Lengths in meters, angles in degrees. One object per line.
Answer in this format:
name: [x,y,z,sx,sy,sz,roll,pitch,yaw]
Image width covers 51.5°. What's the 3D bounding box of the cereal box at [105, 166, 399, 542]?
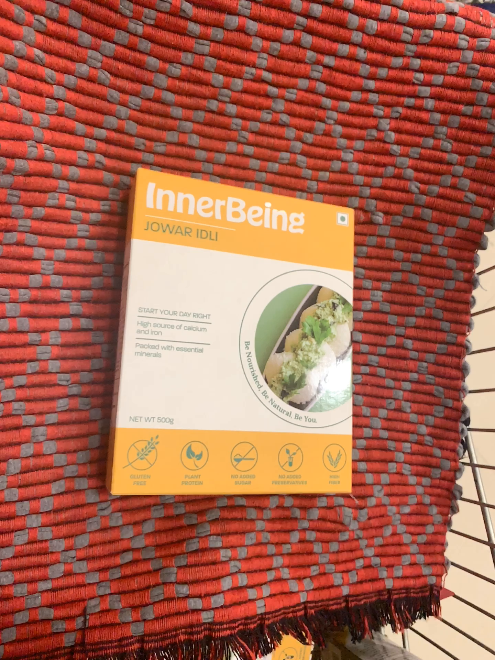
cereal box: [-0.003,0.016,0.313,0.150,0.070,0.190,3,74,-22]
